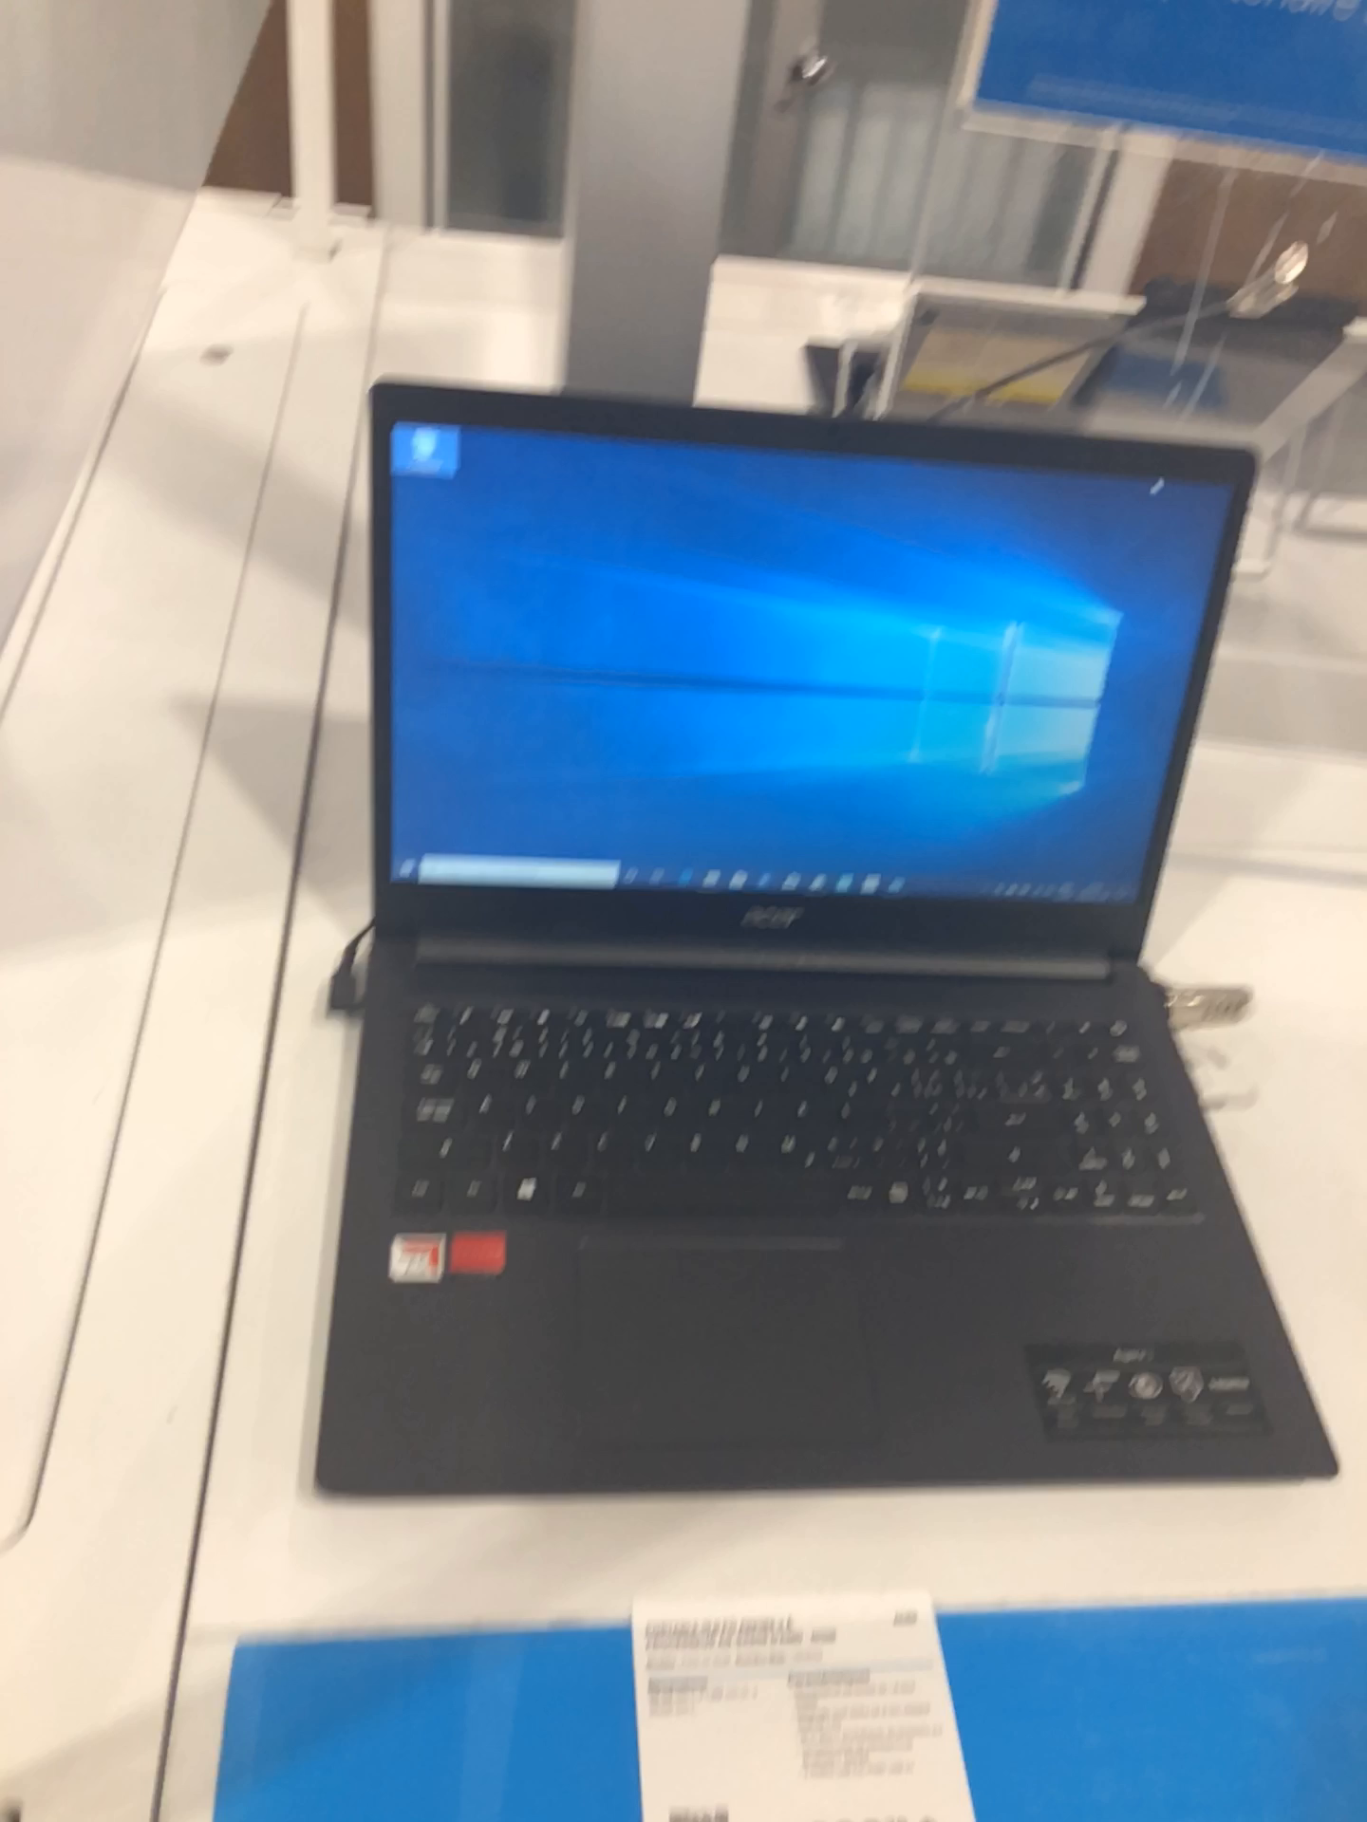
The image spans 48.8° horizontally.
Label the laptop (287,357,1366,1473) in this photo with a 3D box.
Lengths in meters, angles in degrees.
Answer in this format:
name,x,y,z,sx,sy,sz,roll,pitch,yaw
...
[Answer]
name,x,y,z,sx,sy,sz,roll,pitch,yaw
laptop,0.060,-0.006,0.581,0.367,0.212,0.351,2,47,-8
